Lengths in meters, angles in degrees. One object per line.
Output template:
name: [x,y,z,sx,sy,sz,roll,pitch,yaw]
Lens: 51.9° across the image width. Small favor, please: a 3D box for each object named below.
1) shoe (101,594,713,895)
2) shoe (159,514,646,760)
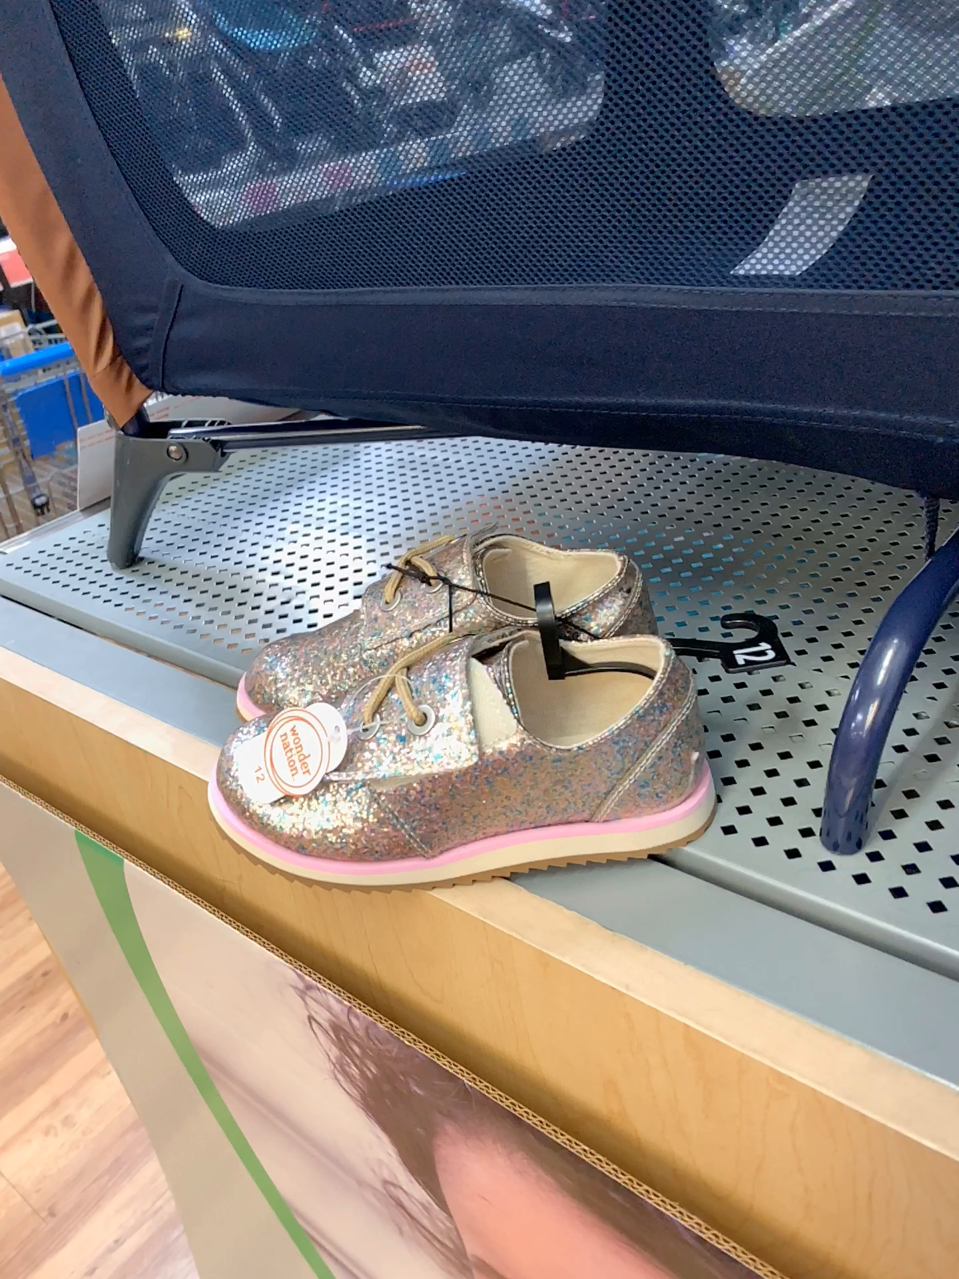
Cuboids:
shoe: [-0.021,0.039,0.376,0.205,0.060,0.086,-5,32,9]
shoe: [-0.028,-0.001,0.451,0.199,0.070,0.084,-3,31,13]
